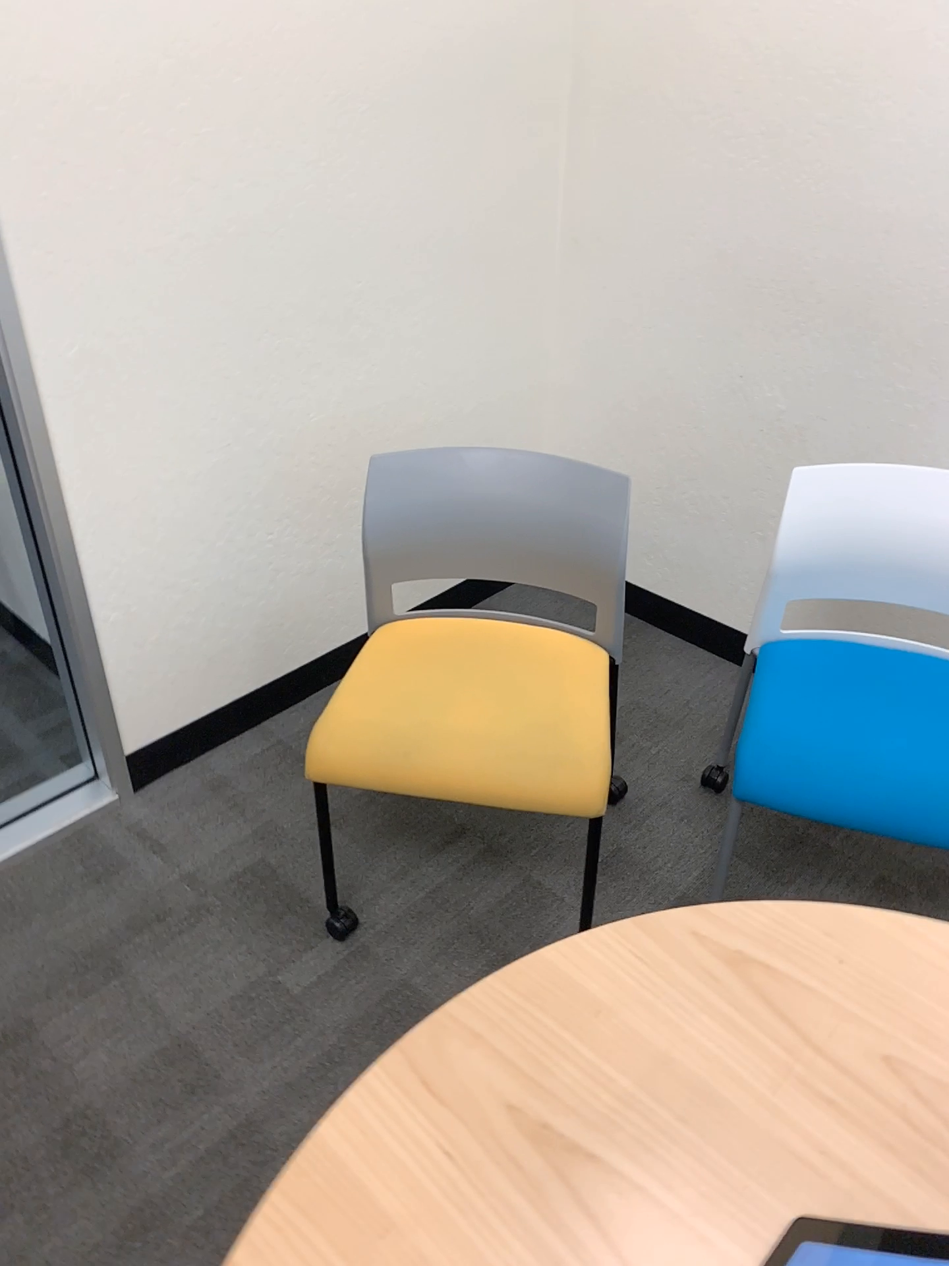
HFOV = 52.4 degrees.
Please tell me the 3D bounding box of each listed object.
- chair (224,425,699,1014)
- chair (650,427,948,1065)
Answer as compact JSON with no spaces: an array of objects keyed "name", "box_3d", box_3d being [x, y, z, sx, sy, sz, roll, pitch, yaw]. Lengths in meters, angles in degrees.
[{"name":"chair","box_3d":[0.031,0.117,1.757,0.640,0.715,0.694,7,34,9]},{"name":"chair","box_3d":[0.740,0.155,1.742,0.641,0.755,0.694,11,35,15]}]
